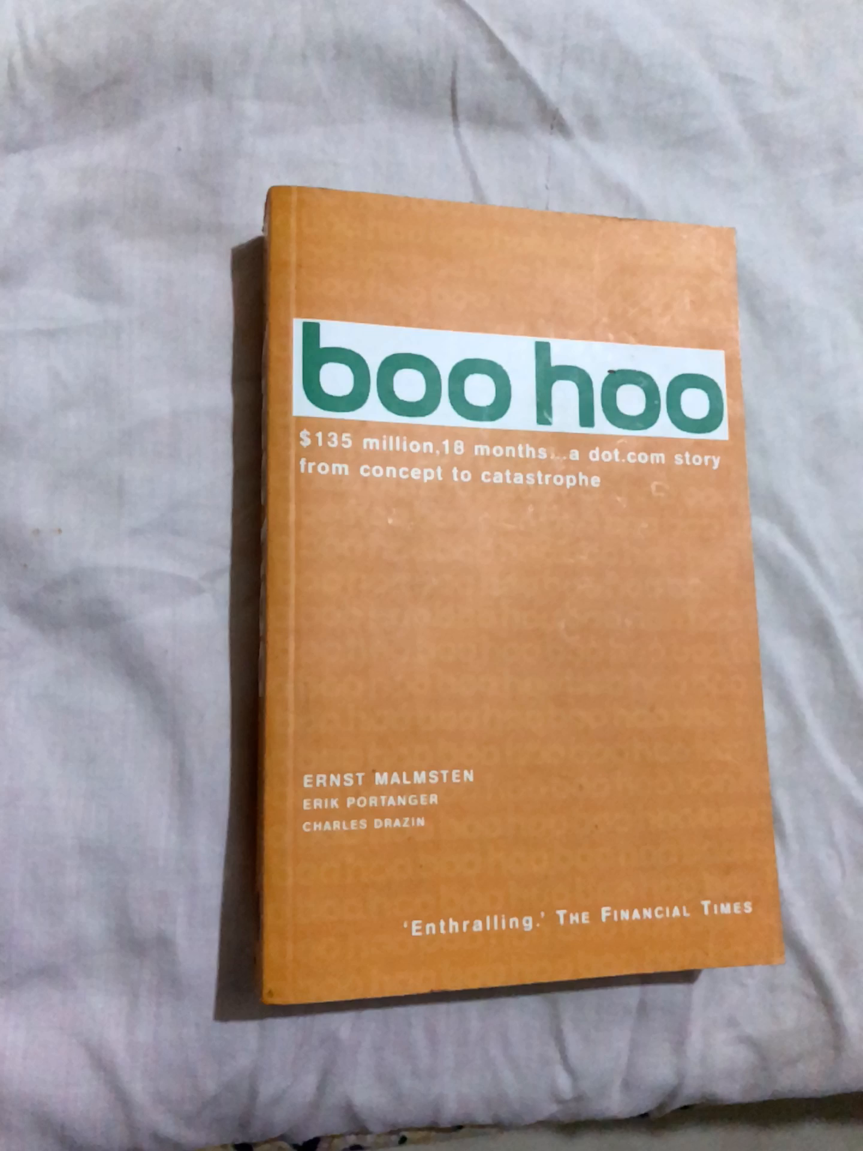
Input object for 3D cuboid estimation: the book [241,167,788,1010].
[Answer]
[{"bbox_3d":[0.018,0.000,0.257,0.130,0.040,0.200,0,82,-9],"label":"book"}]
